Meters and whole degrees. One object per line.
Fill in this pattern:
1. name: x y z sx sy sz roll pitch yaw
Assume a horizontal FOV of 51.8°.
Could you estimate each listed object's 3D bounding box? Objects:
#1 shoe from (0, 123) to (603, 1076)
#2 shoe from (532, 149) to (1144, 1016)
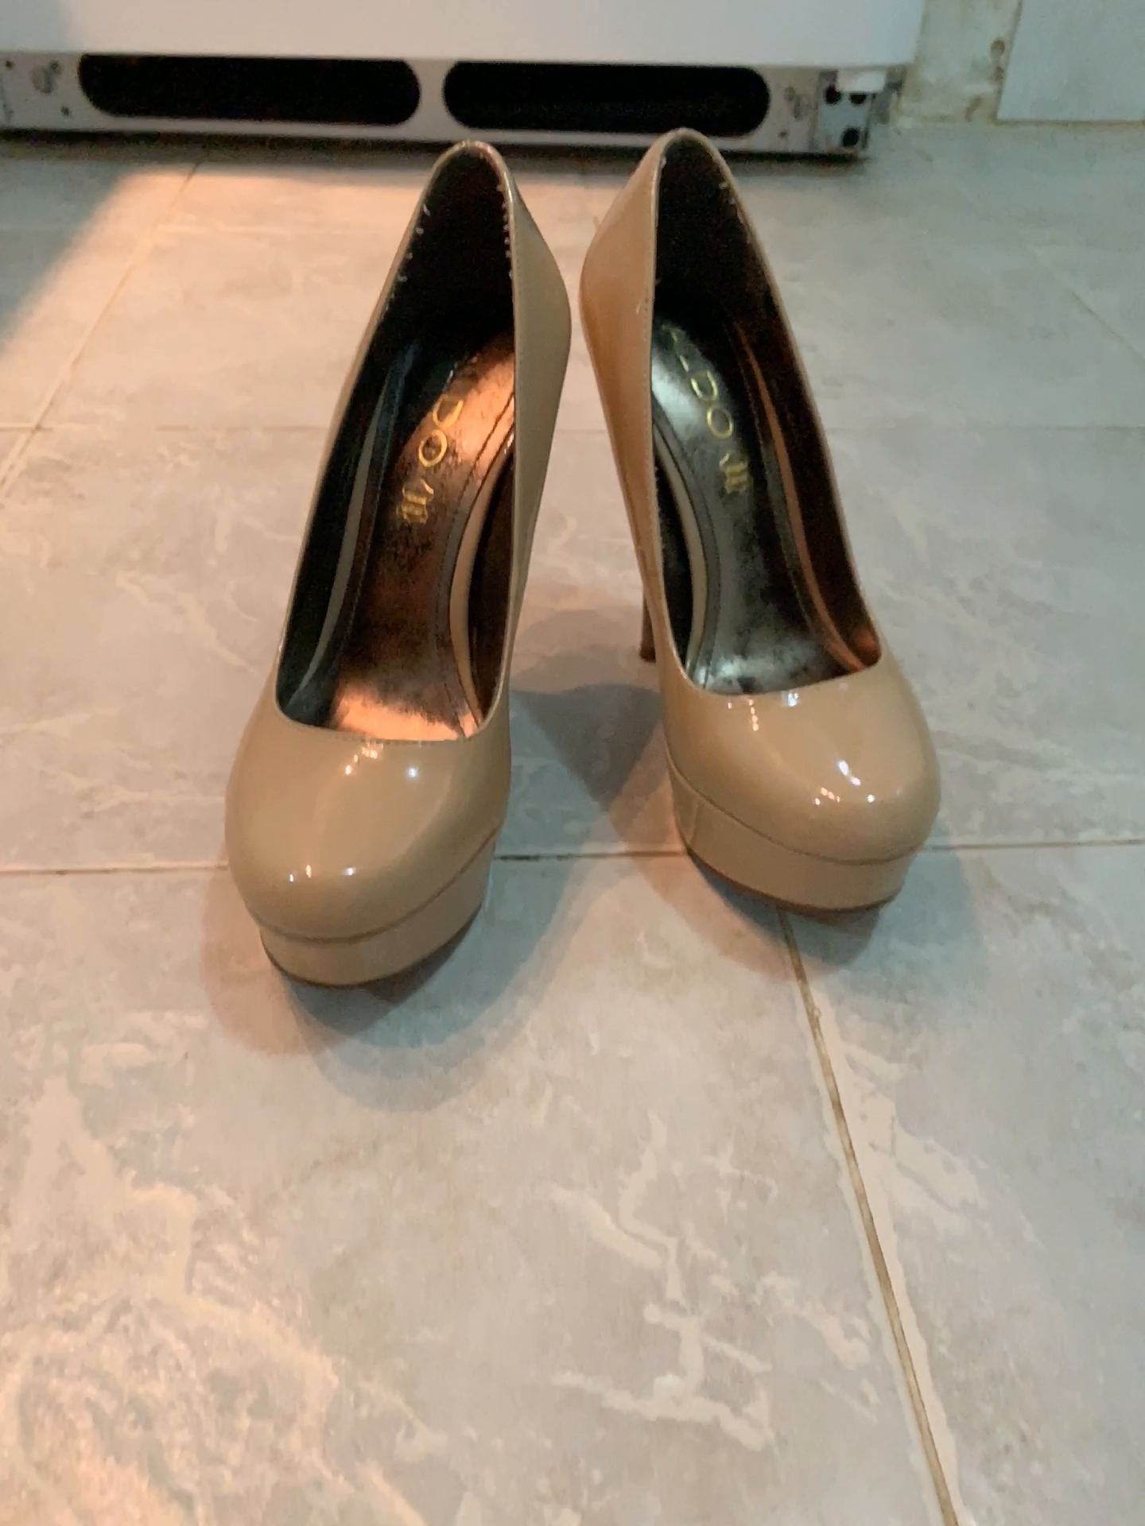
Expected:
1. shoe: -0.048 -0.057 0.335 0.087 0.176 0.211 5 41 3
2. shoe: 0.056 -0.067 0.357 0.087 0.166 0.211 -9 42 -13
